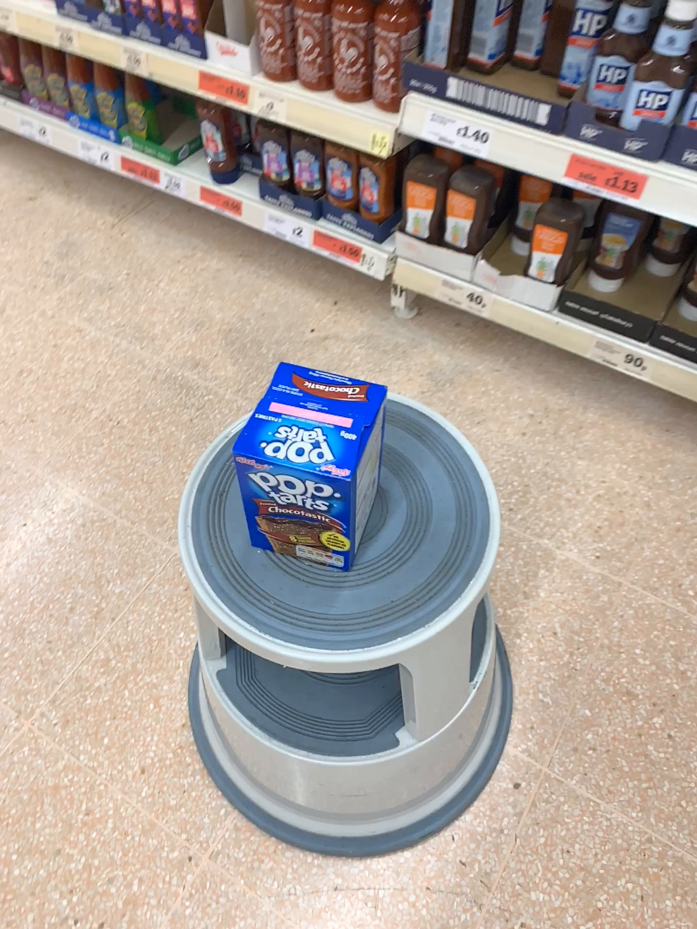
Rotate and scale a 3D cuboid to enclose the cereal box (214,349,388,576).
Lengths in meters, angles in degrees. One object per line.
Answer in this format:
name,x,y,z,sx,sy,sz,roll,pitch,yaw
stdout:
cereal box,-0.032,0.001,0.594,0.100,0.139,0.111,14,57,11
